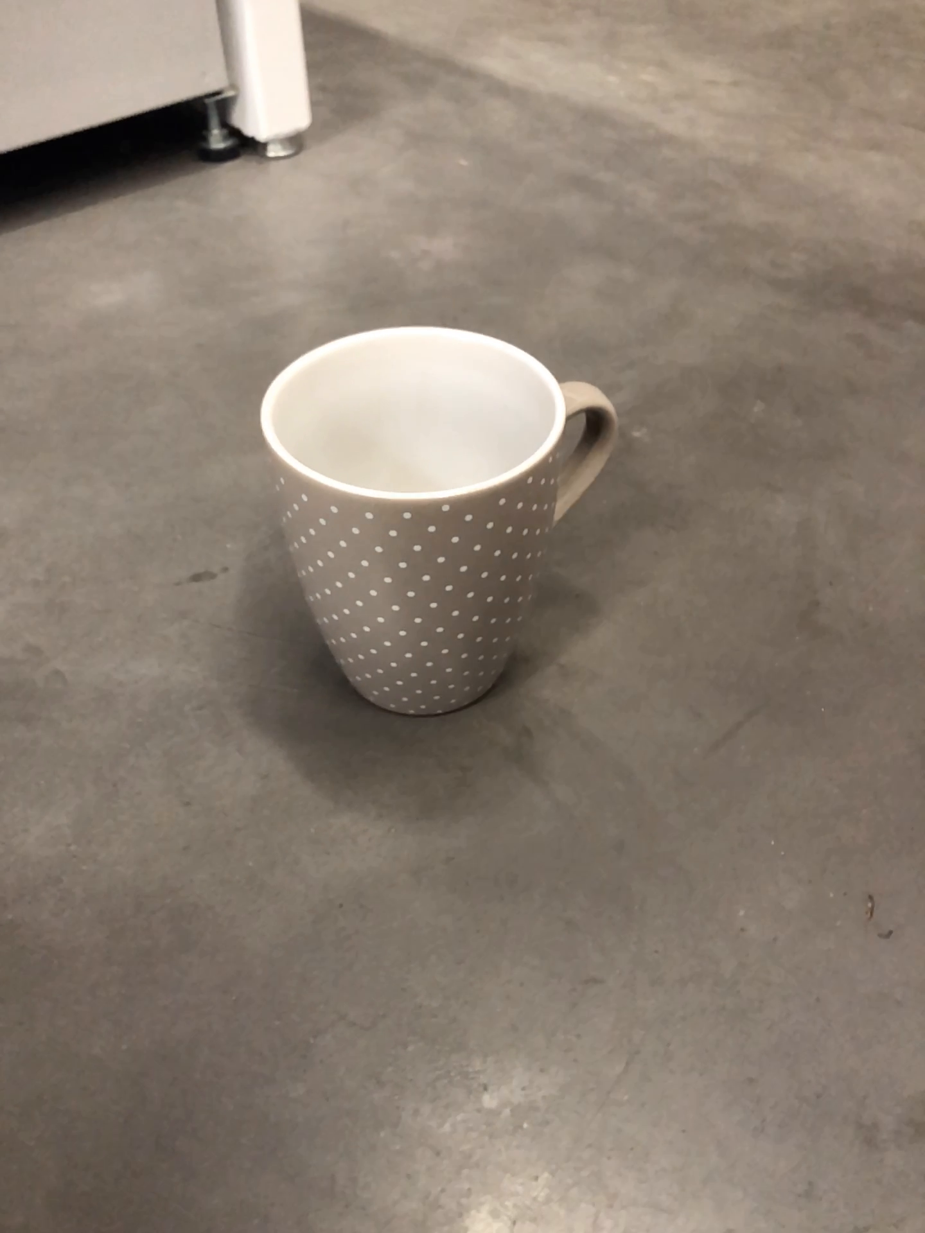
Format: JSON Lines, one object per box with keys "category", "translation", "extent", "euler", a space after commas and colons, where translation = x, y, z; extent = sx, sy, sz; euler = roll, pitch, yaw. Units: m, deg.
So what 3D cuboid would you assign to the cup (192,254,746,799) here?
{"category": "cup", "translation": [0.004, -0.036, 0.347], "extent": [0.142, 0.107, 0.091], "euler": [-29, 51, -26]}
